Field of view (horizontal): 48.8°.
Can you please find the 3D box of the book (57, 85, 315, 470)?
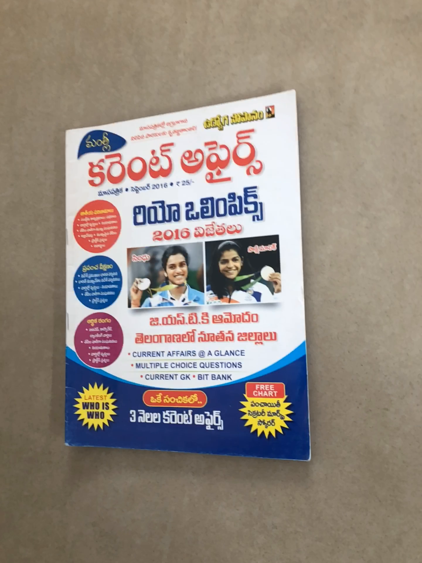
[{"bbox_3d":[-0.028,-0.003,0.351,0.200,0.010,0.260,-3,85,19],"label":"book"}]
